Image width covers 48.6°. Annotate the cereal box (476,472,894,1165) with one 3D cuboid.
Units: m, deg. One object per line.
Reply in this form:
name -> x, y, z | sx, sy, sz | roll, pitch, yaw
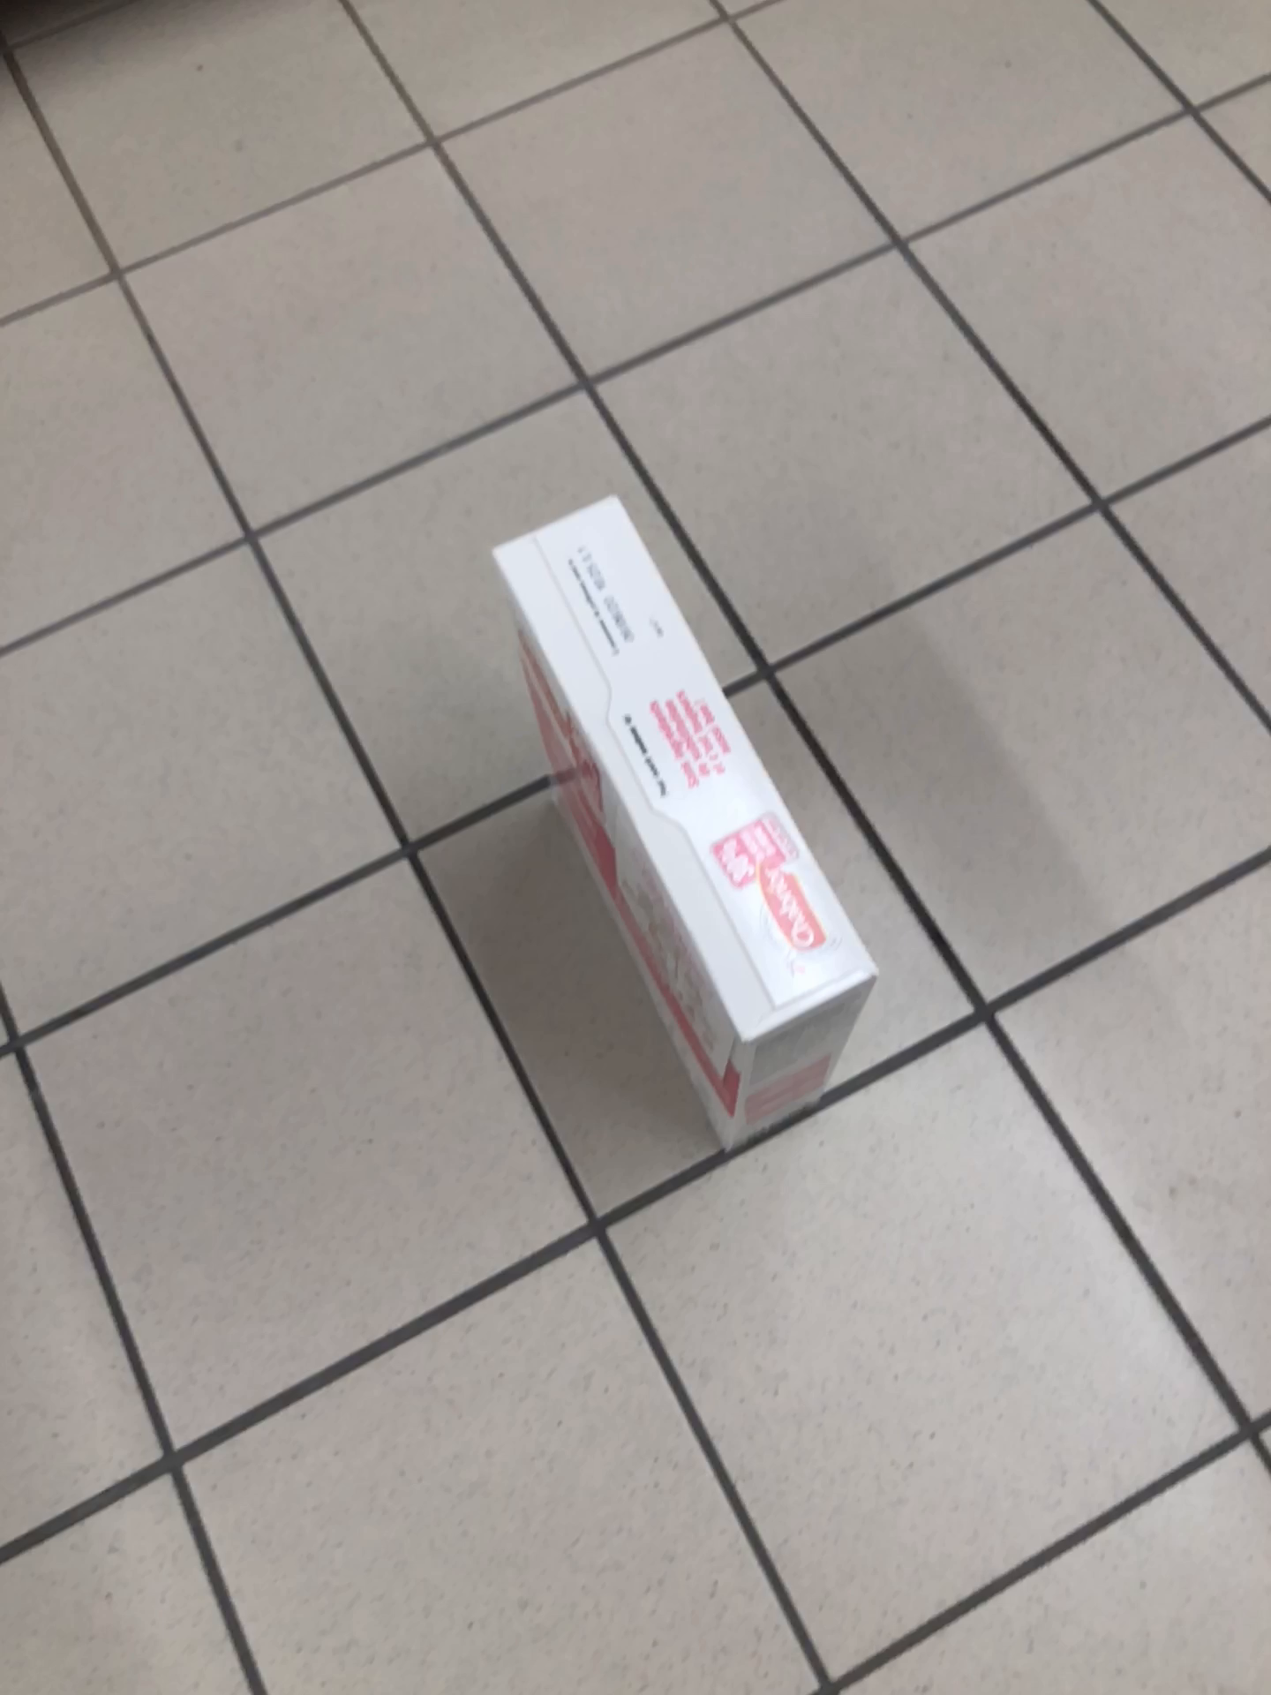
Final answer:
cereal box -> 0.016, 0.007, 0.559 | 0.050, 0.239, 0.200 | -25, 70, -7
